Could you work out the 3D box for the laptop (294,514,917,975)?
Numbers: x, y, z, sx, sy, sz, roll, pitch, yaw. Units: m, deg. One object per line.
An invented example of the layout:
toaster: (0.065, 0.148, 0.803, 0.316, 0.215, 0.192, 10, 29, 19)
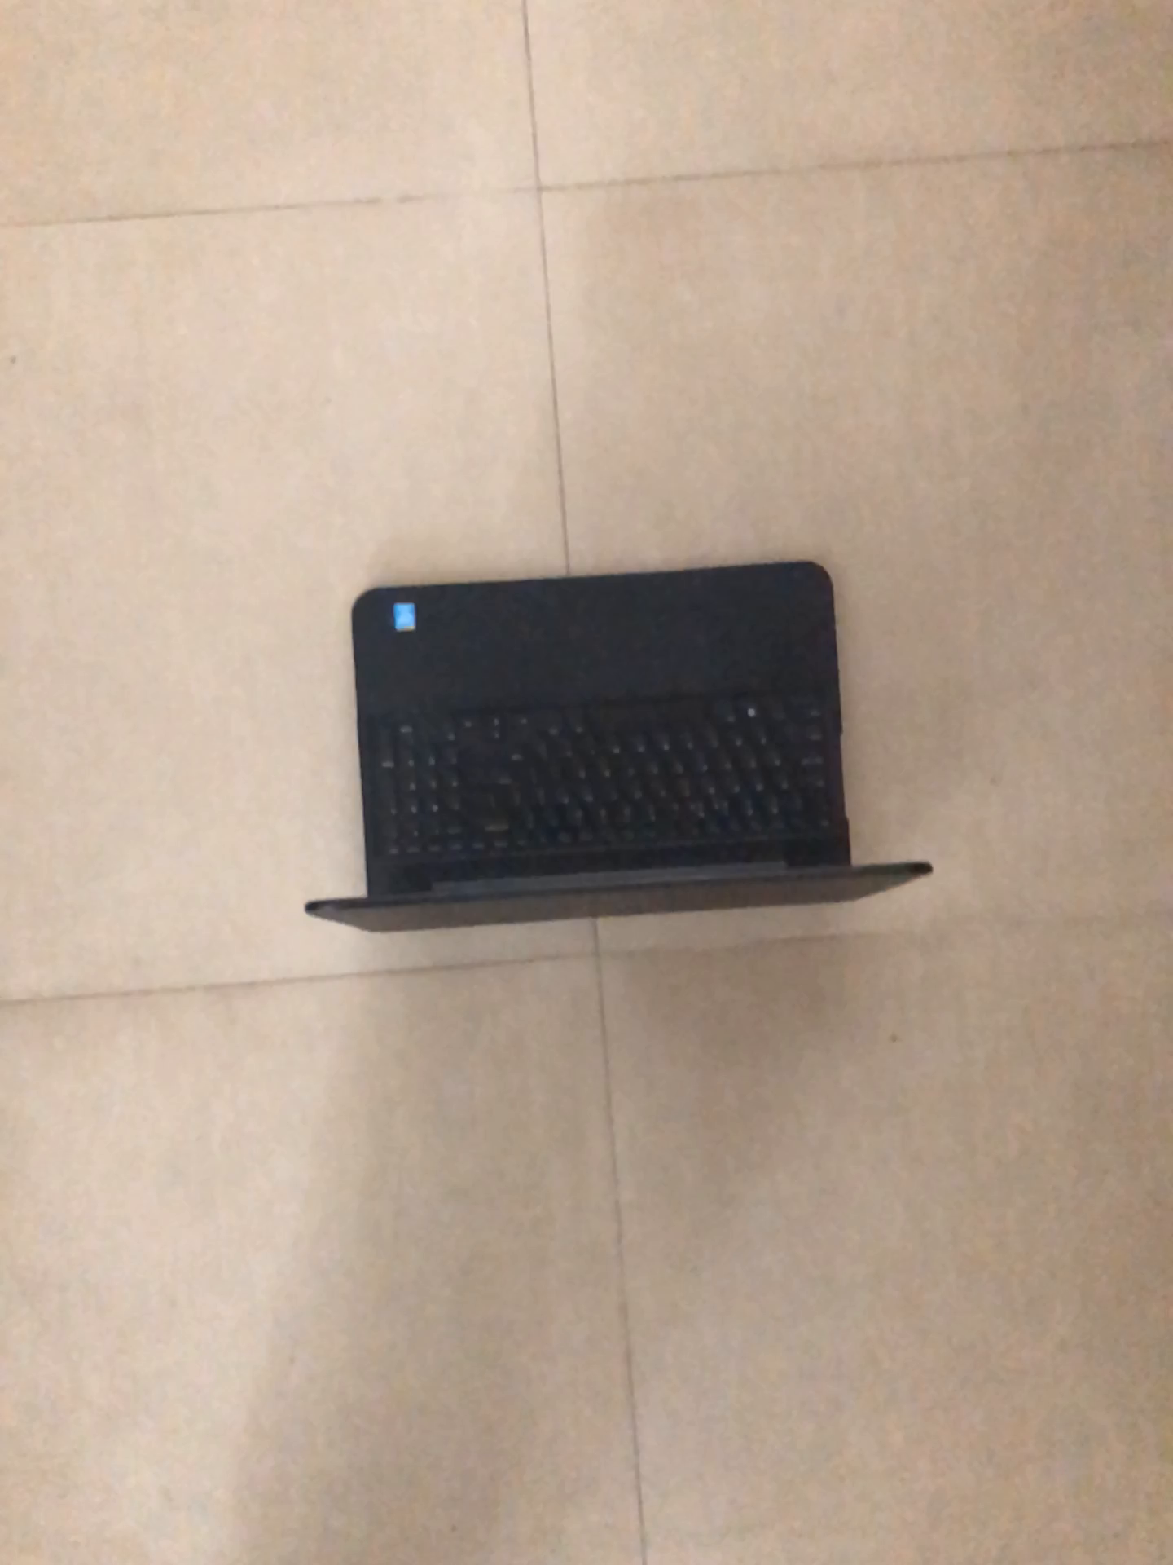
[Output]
laptop: (0.010, -0.026, 0.874, 0.351, 0.228, 0.247, -4, 89, 0)
